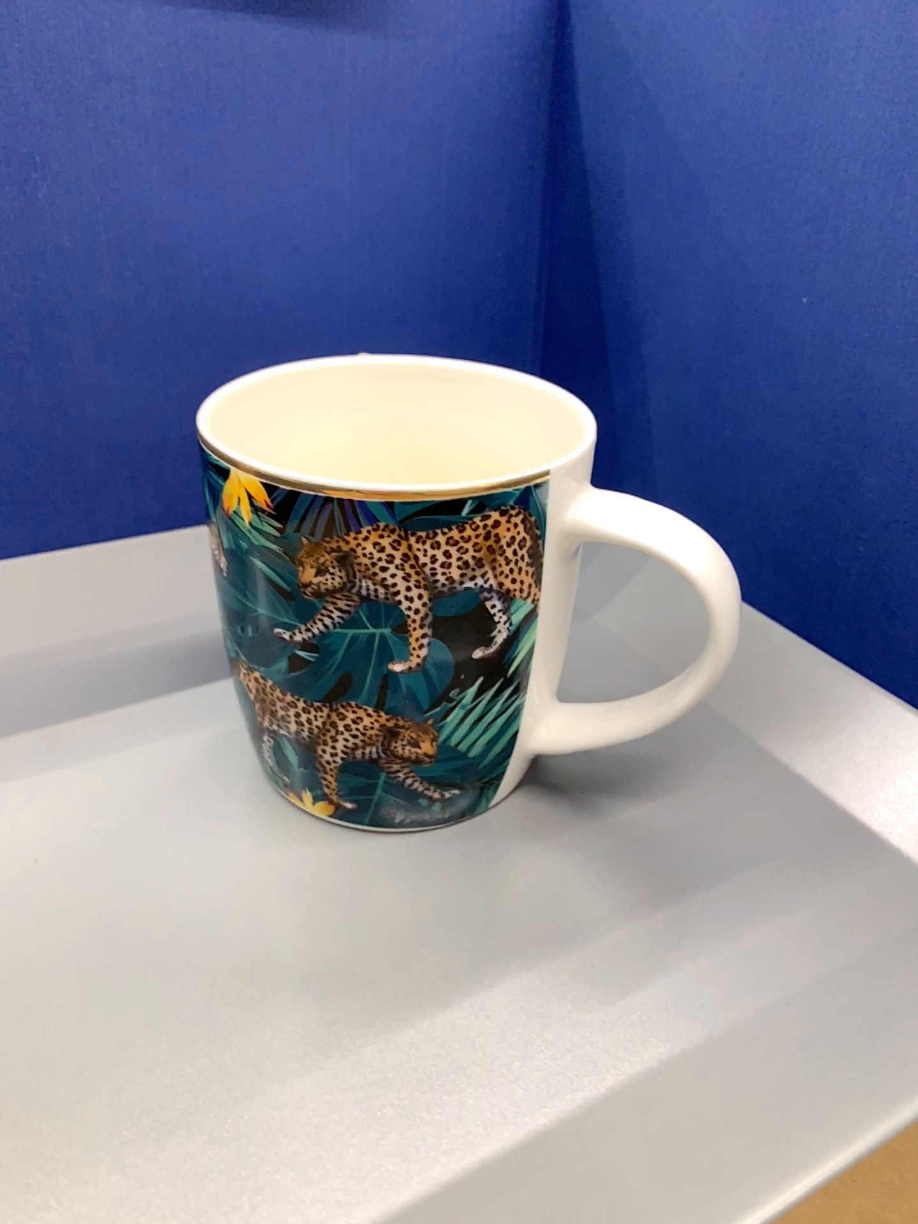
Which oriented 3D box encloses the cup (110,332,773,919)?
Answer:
[{"bbox_3d":[0.003,-0.007,0.235,0.126,0.091,0.093,10,28,14],"label":"cup"}]
